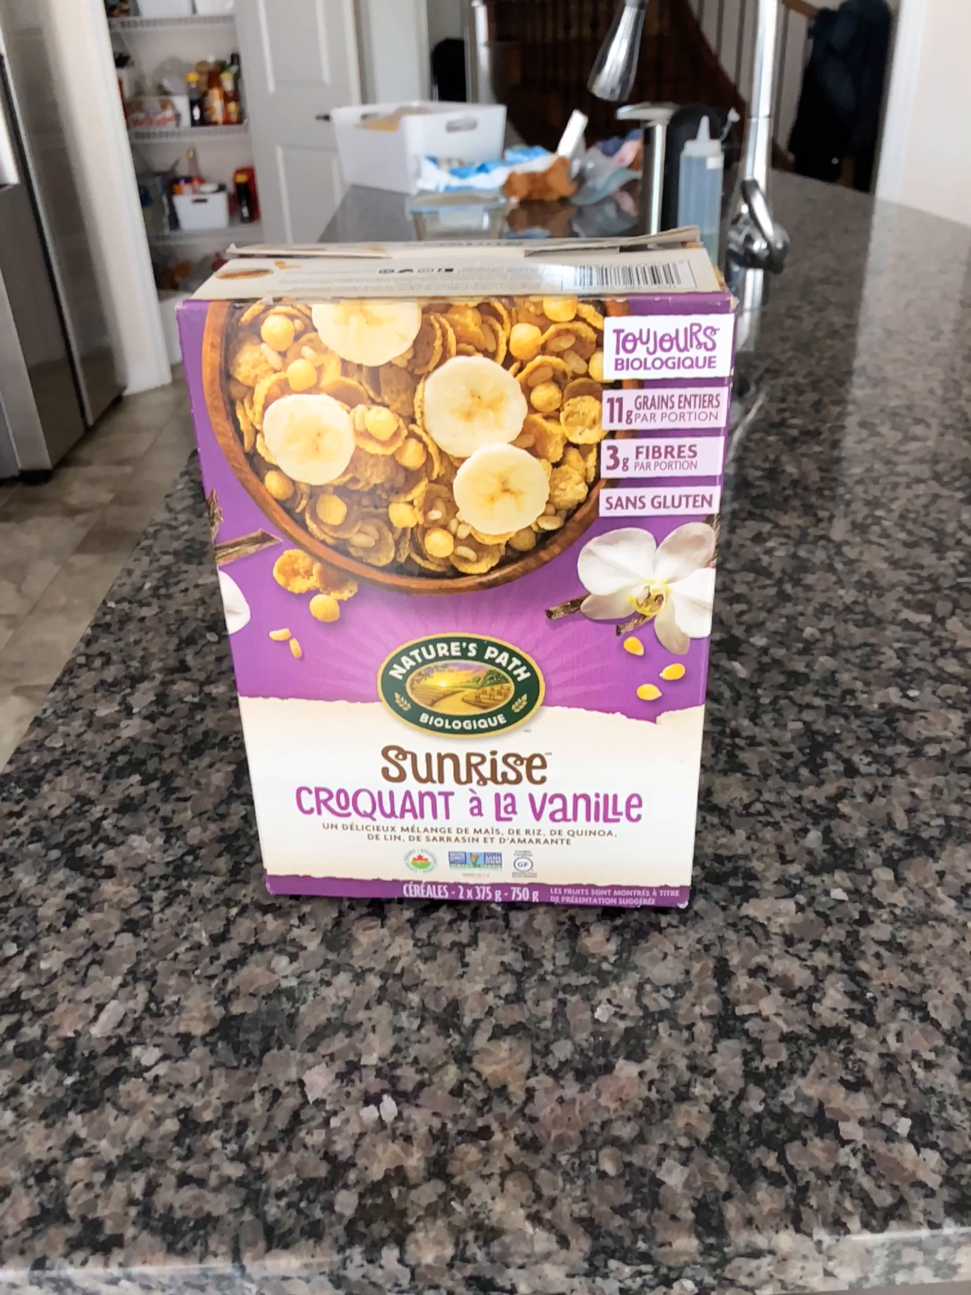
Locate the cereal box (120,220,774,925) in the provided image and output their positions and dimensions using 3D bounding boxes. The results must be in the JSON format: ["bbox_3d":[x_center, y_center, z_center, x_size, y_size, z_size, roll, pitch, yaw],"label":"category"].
[{"bbox_3d":[-0.004,-0.025,0.399,0.180,0.229,0.110,0,30,5],"label":"cereal box"}]
